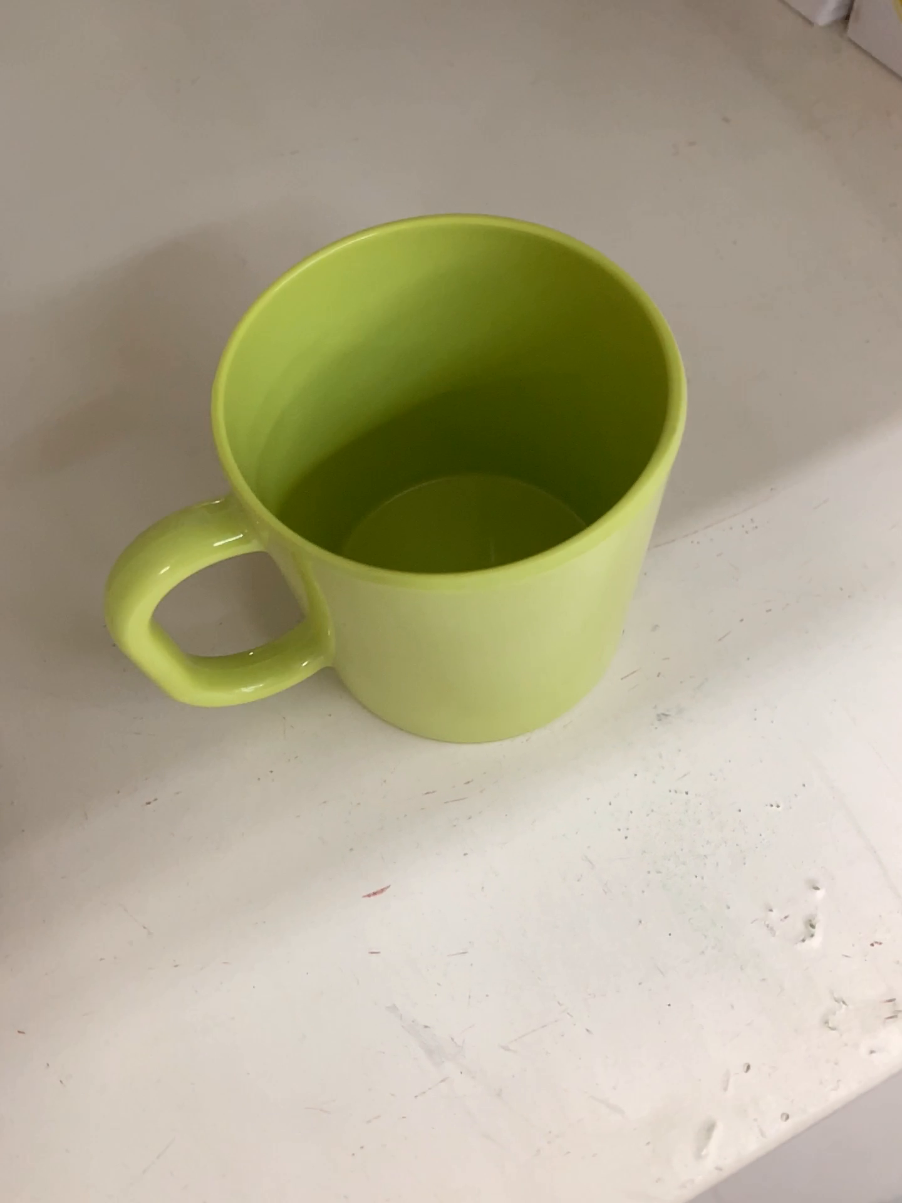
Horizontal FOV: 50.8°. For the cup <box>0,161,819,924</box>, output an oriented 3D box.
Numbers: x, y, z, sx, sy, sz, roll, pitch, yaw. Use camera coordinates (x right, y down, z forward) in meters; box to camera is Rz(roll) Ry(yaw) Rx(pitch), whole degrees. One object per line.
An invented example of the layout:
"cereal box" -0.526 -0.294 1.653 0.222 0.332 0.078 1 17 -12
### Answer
"cup" -0.010 -0.007 0.162 0.100 0.070 0.070 -25 62 -8
